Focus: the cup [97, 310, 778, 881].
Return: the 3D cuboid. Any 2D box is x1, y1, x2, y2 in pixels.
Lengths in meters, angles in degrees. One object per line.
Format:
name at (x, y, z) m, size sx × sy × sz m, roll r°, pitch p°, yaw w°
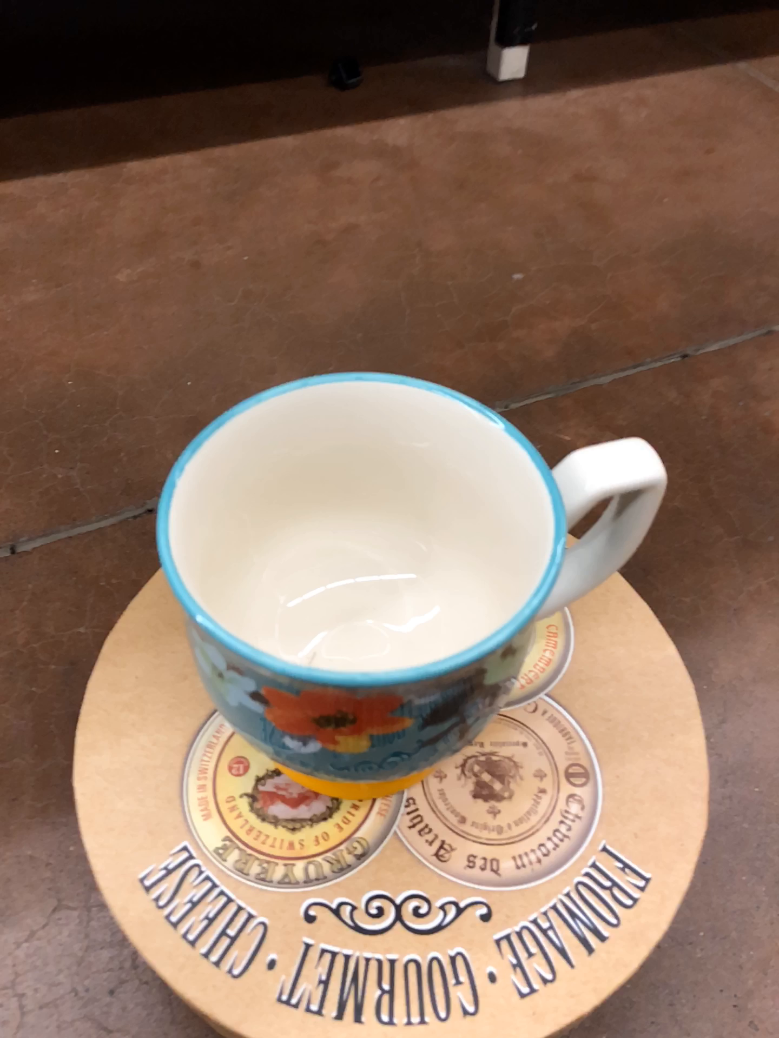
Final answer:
cup at (0.008, 0.016, 0.233) m, size 0.140 × 0.080 × 0.090 m, roll -15°, pitch 51°, yaw -15°
